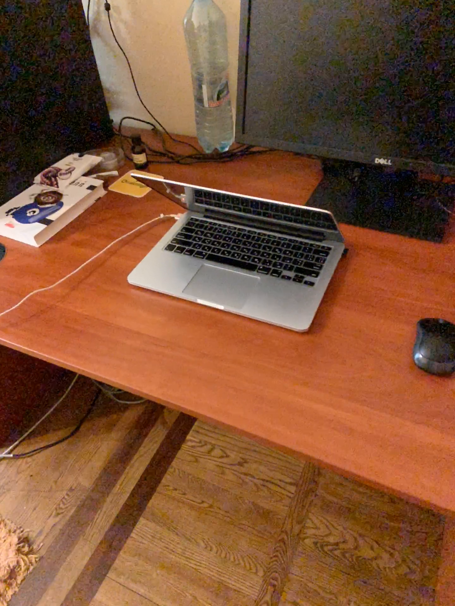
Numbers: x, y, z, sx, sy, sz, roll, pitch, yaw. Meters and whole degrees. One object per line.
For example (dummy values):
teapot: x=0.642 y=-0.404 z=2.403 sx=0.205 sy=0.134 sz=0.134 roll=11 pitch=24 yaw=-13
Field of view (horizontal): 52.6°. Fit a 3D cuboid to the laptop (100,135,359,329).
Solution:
laptop: x=0.012 y=-0.122 z=0.704 sx=0.303 sy=0.150 sz=0.208 roll=15 pitch=48 yaw=19
